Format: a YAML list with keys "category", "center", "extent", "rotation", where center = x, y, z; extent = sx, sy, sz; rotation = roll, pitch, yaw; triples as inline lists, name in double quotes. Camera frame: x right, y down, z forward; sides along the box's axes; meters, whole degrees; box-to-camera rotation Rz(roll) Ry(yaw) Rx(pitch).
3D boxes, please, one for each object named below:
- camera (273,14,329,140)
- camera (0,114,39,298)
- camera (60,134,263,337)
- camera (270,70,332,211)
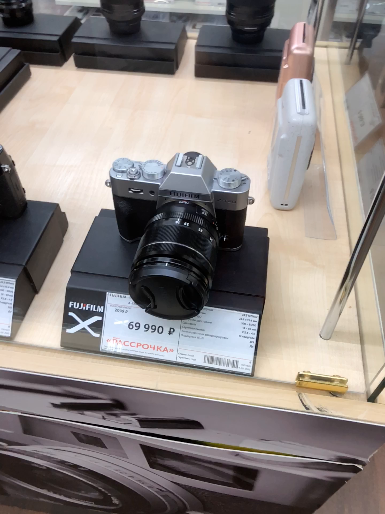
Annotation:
- category: "camera"
  center: [0.143, -0.237, 0.564]
  extent: [0.043, 0.118, 0.101]
  rotation: [11, 50, 9]
- category: "camera"
  center: [-0.233, -0.050, 0.377]
  extent: [0.123, 0.080, 0.131]
  rotation: [9, 49, 7]
- category: "camera"
  center: [-0.015, -0.022, 0.349]
  extent: [0.123, 0.080, 0.131]
  rotation: [9, 49, 7]
- category: "camera"
  center: [0.111, -0.124, 0.457]
  extent: [0.039, 0.110, 0.094]
  rotation: [6, 49, 4]
